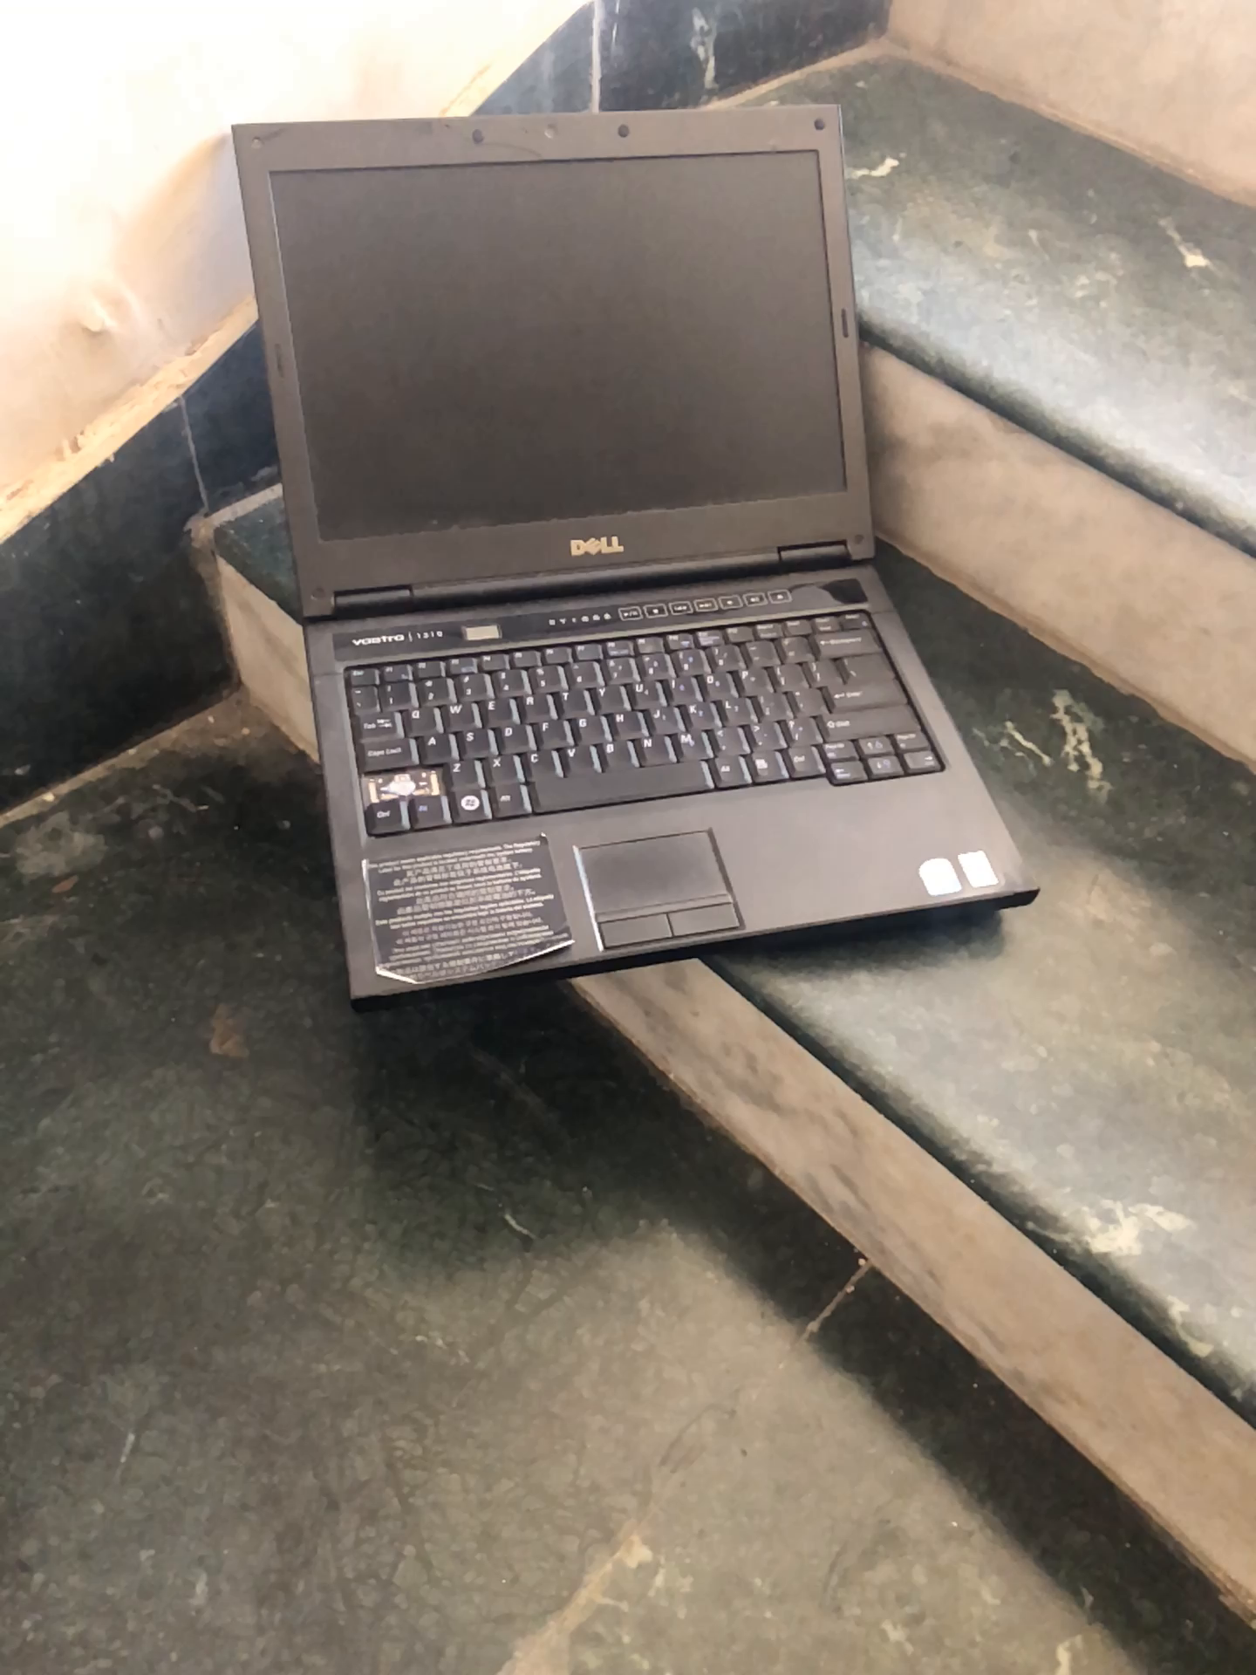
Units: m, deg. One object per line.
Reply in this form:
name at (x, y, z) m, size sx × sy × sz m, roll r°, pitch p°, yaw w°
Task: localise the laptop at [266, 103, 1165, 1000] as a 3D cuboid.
laptop at (0.003, -0.161, 0.655) m, size 0.302 × 0.169 × 0.388 m, roll -7°, pitch 54°, yaw -11°
